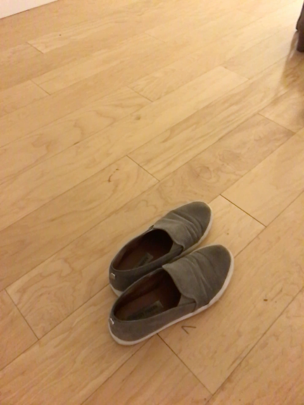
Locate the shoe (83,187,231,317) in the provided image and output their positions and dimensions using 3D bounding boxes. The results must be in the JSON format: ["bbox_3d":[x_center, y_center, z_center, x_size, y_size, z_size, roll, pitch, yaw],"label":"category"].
[{"bbox_3d":[0.016,0.085,0.652,0.281,0.050,0.110,-33,57,-24],"label":"shoe"}]

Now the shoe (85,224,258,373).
[{"bbox_3d":[0.038,0.157,0.586,0.281,0.050,0.120,-27,55,-20],"label":"shoe"}]
